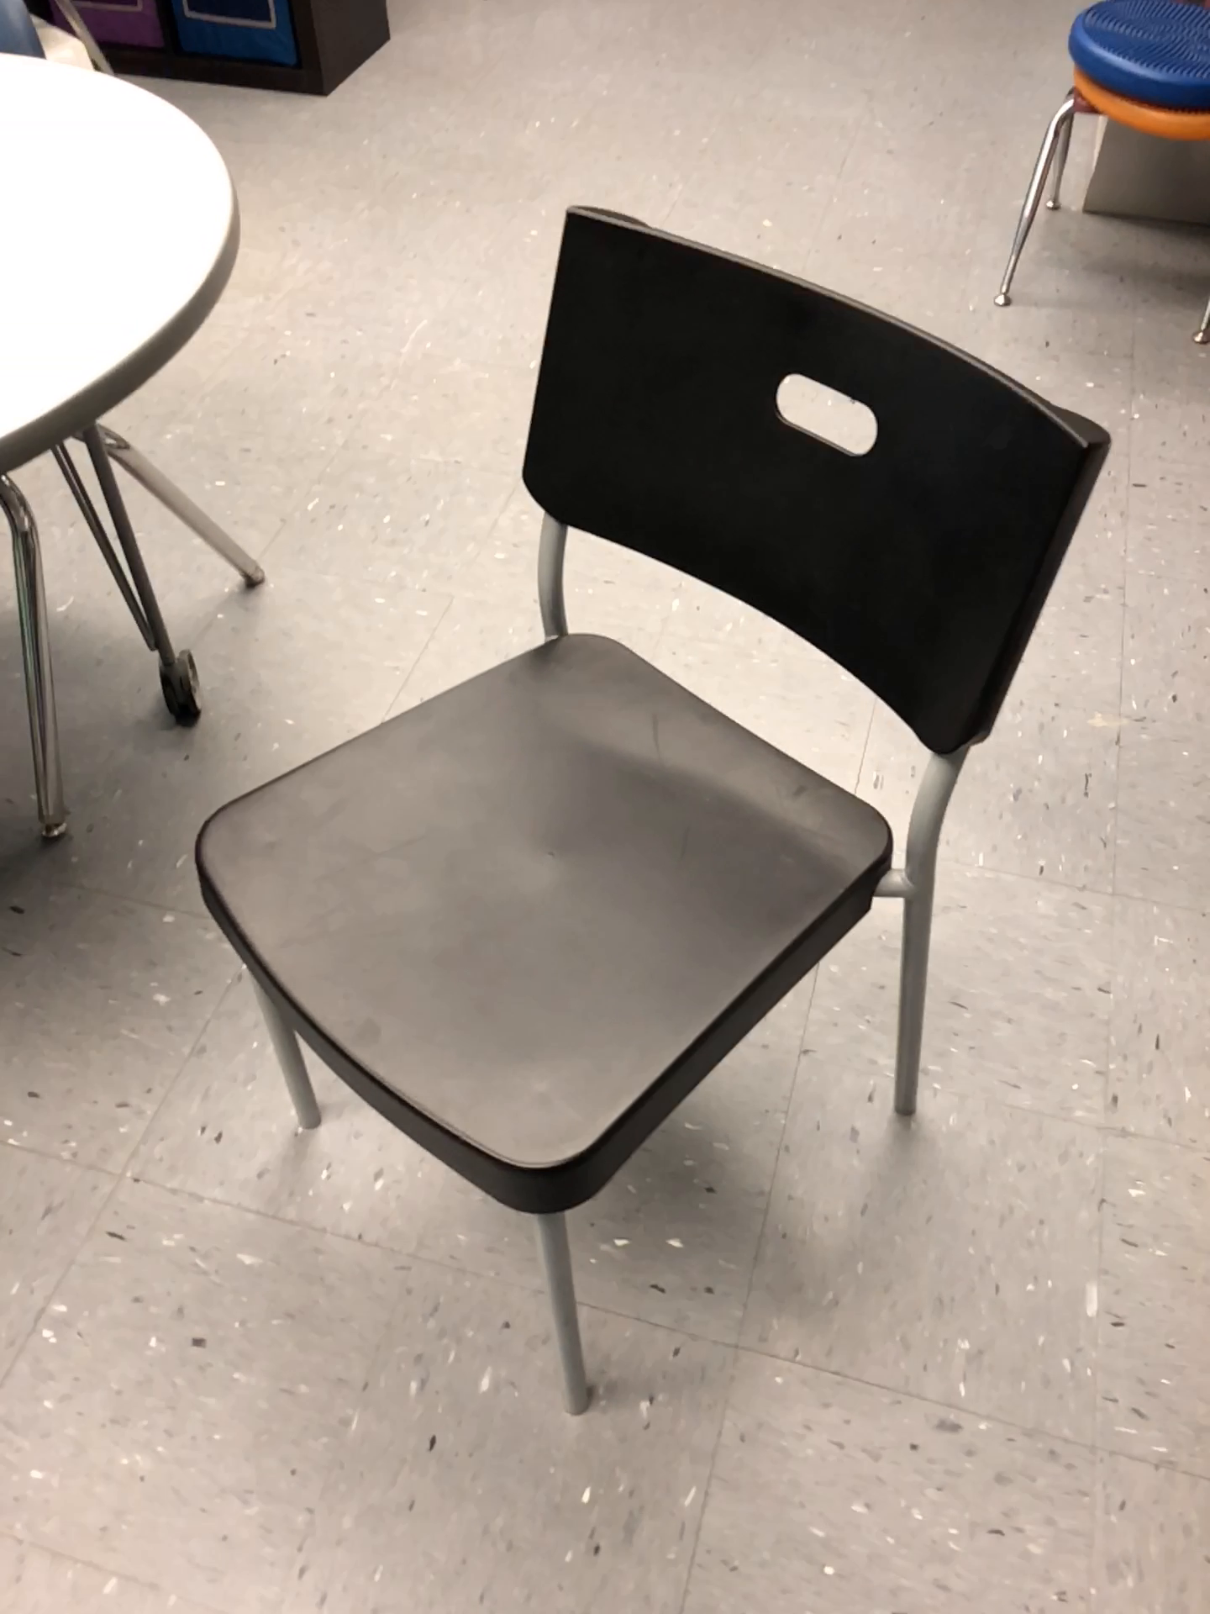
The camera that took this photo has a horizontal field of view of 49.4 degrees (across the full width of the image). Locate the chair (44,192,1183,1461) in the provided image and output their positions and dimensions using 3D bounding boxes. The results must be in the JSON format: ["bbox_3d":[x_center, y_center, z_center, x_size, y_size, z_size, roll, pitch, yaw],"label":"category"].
[{"bbox_3d":[0.009,0.045,1.053,0.473,0.777,0.467,-36,56,-28],"label":"chair"}]
